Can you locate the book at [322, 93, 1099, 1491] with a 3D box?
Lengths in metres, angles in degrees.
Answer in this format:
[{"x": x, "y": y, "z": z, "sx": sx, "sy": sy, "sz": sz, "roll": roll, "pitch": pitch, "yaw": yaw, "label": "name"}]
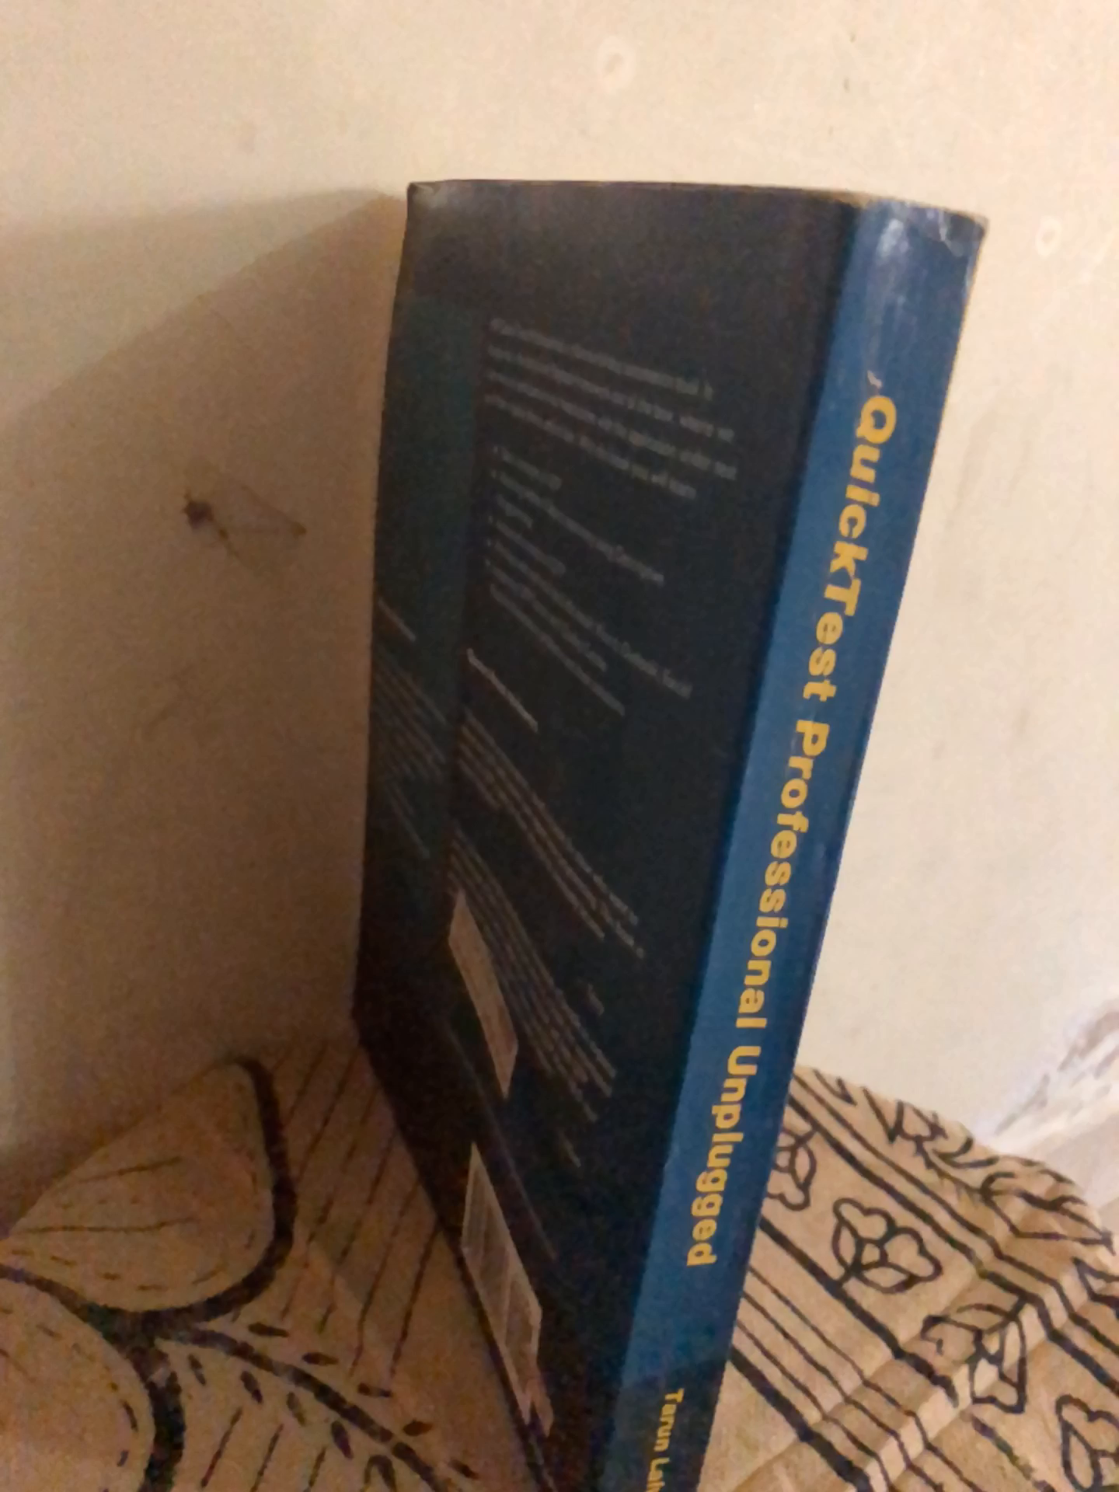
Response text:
[{"x": -0.004, "y": 0.012, "z": 0.291, "sx": 0.050, "sy": 0.269, "sz": 0.211, "roll": -4, "pitch": 21, "yaw": -23, "label": "book"}]
